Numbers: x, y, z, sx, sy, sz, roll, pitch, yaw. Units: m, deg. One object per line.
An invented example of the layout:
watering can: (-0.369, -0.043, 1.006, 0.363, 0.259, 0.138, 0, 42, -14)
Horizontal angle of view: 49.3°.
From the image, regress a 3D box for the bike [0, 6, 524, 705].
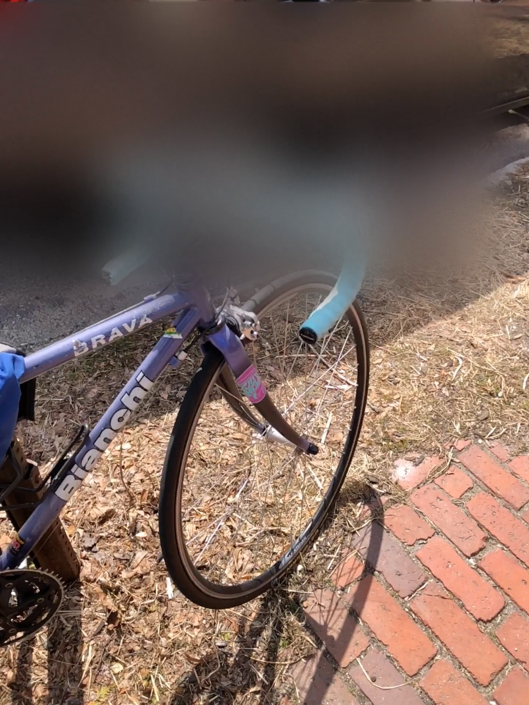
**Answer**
bike: (-0.446, 0.124, 0.850, 1.451, 0.734, 0.461, -24, 50, -19)
